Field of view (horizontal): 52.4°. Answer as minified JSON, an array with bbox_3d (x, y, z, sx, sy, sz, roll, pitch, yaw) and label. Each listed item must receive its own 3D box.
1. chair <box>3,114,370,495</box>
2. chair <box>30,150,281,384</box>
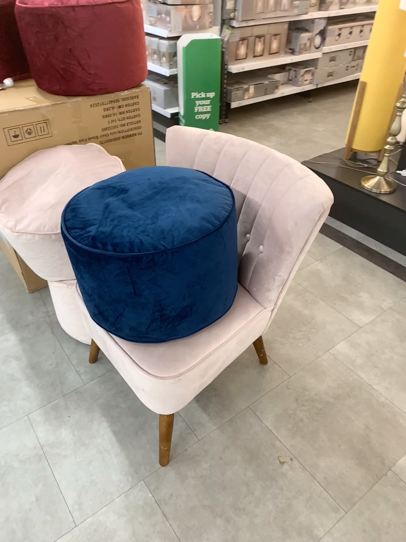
[{"bbox_3d":[-0.065,0.037,1.358,0.733,0.772,0.695,-25,45,-29],"label":"chair"},{"bbox_3d":[-0.142,-0.061,1.227,0.494,0.340,0.498,-25,45,-29],"label":"chair"}]
